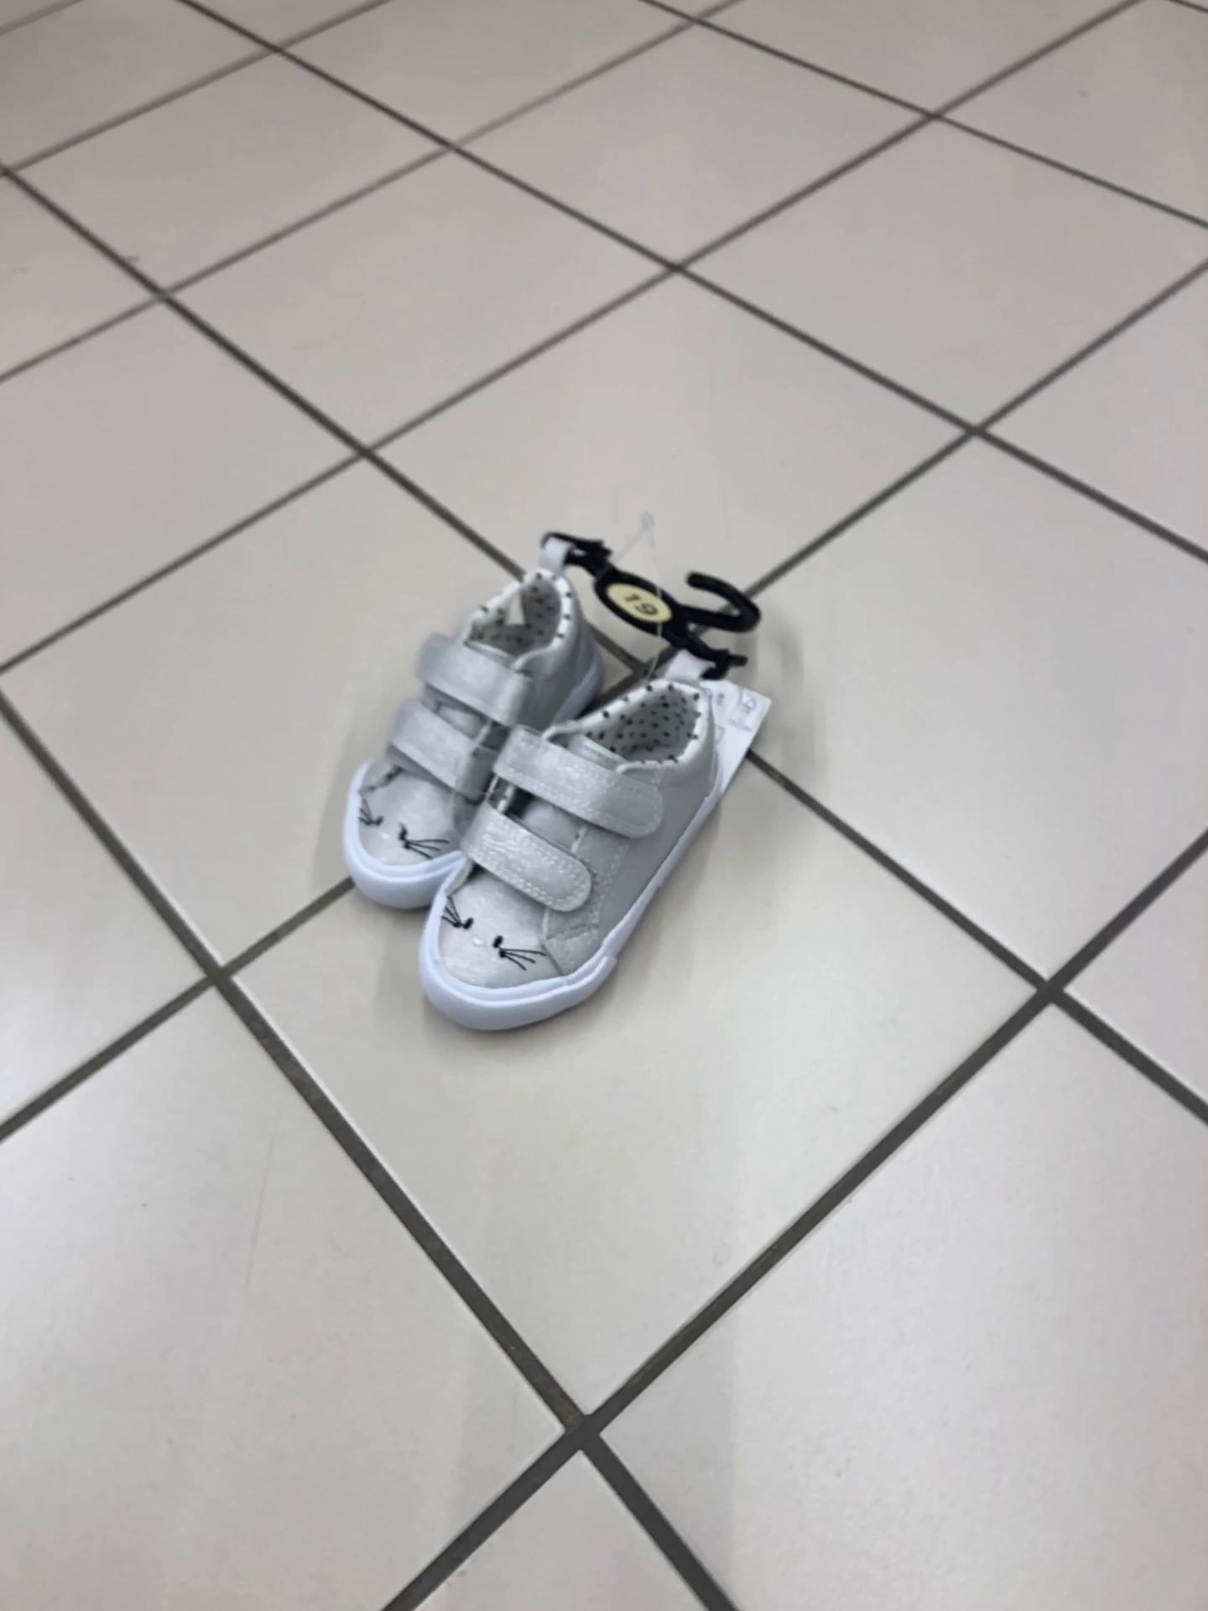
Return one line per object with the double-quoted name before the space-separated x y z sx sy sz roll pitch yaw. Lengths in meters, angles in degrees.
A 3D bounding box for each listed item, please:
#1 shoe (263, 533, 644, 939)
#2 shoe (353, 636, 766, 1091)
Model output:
"shoe" -0.050 -0.029 0.493 0.059 0.053 0.138 26 60 24
"shoe" -0.009 0.016 0.456 0.064 0.053 0.138 28 61 25
